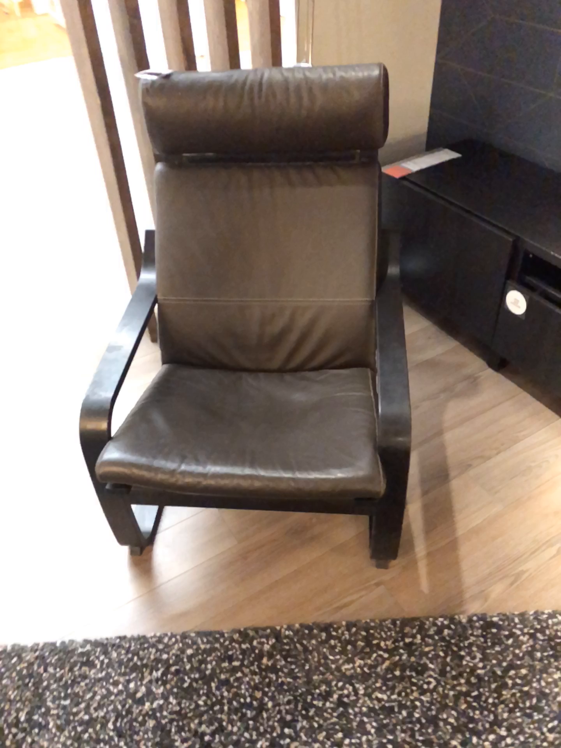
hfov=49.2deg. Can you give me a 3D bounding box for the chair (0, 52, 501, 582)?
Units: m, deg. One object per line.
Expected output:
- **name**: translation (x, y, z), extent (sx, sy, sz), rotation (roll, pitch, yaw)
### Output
- **chair**: translation (-0.064, -0.123, 1.359), extent (0.780, 0.876, 0.733), rotation (1, 41, 5)
